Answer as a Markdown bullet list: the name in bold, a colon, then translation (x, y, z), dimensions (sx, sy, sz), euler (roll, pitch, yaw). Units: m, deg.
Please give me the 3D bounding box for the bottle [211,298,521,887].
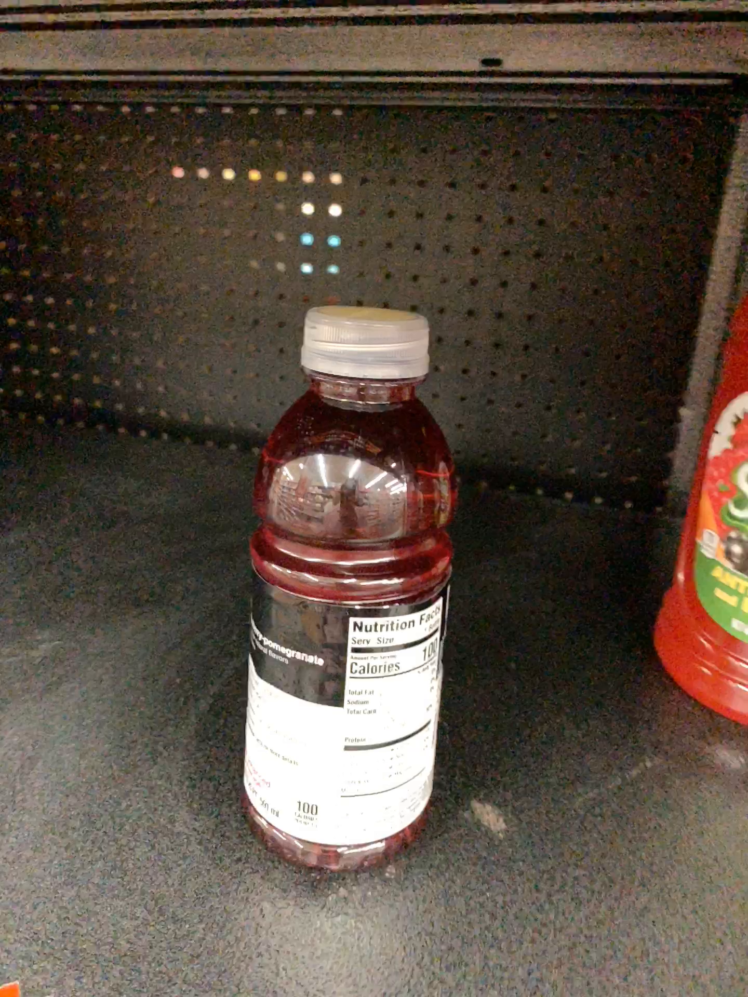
- **bottle**: translation (-0.011, 0.029, 0.267), dimensions (0.080, 0.179, 0.080), euler (2, 21, -1)
